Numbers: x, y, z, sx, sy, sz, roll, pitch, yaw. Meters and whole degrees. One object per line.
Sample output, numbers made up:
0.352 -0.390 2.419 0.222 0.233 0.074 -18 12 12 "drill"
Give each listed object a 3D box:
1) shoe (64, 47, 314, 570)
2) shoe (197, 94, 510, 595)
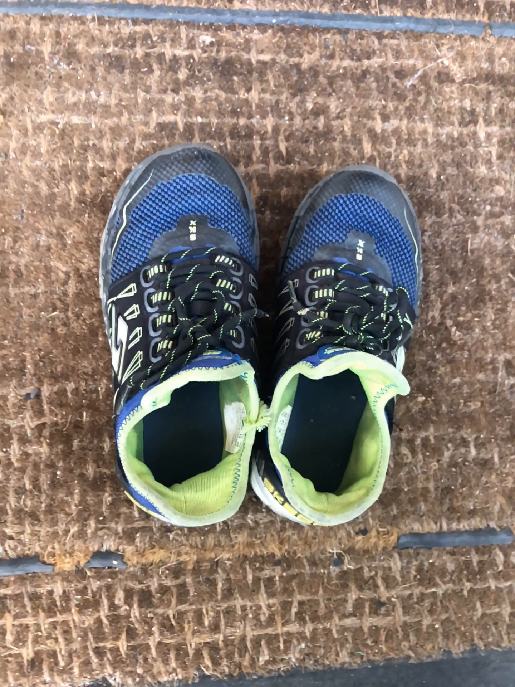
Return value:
-0.036 -0.018 0.308 0.090 0.100 0.230 -6 86 -6 "shoe"
0.040 0.001 0.297 0.090 0.100 0.200 16 84 -4 "shoe"
